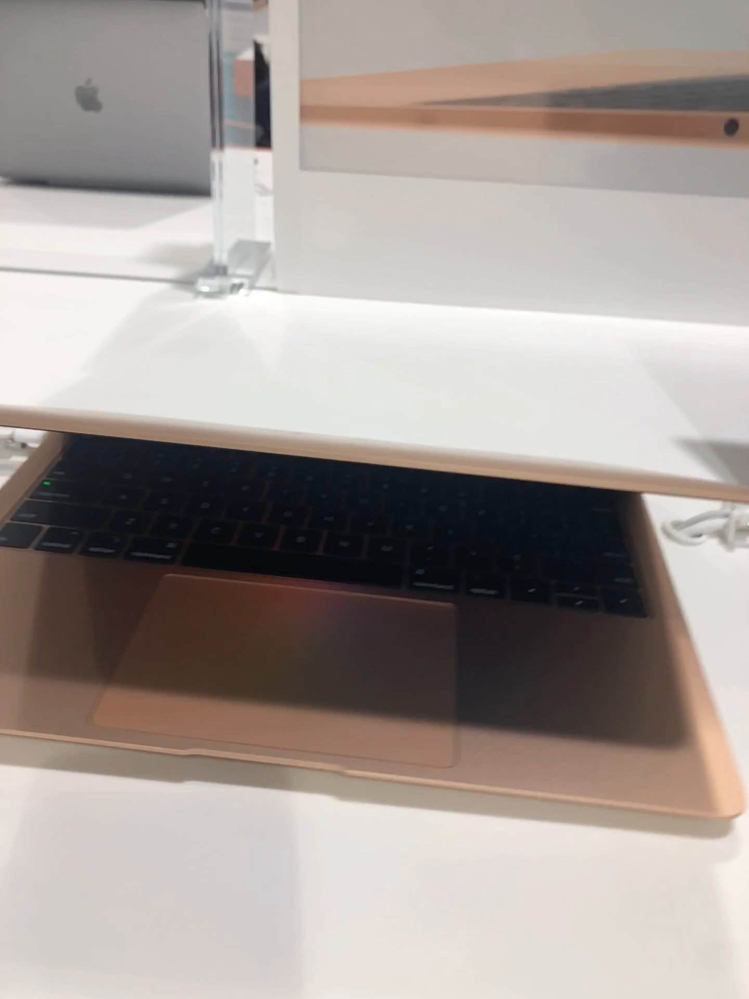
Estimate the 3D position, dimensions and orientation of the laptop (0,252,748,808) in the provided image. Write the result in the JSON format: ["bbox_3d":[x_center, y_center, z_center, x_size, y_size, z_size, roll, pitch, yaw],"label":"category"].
[{"bbox_3d":[-0.017,-0.012,0.333,0.285,0.091,0.210,6,31,3],"label":"laptop"}]
